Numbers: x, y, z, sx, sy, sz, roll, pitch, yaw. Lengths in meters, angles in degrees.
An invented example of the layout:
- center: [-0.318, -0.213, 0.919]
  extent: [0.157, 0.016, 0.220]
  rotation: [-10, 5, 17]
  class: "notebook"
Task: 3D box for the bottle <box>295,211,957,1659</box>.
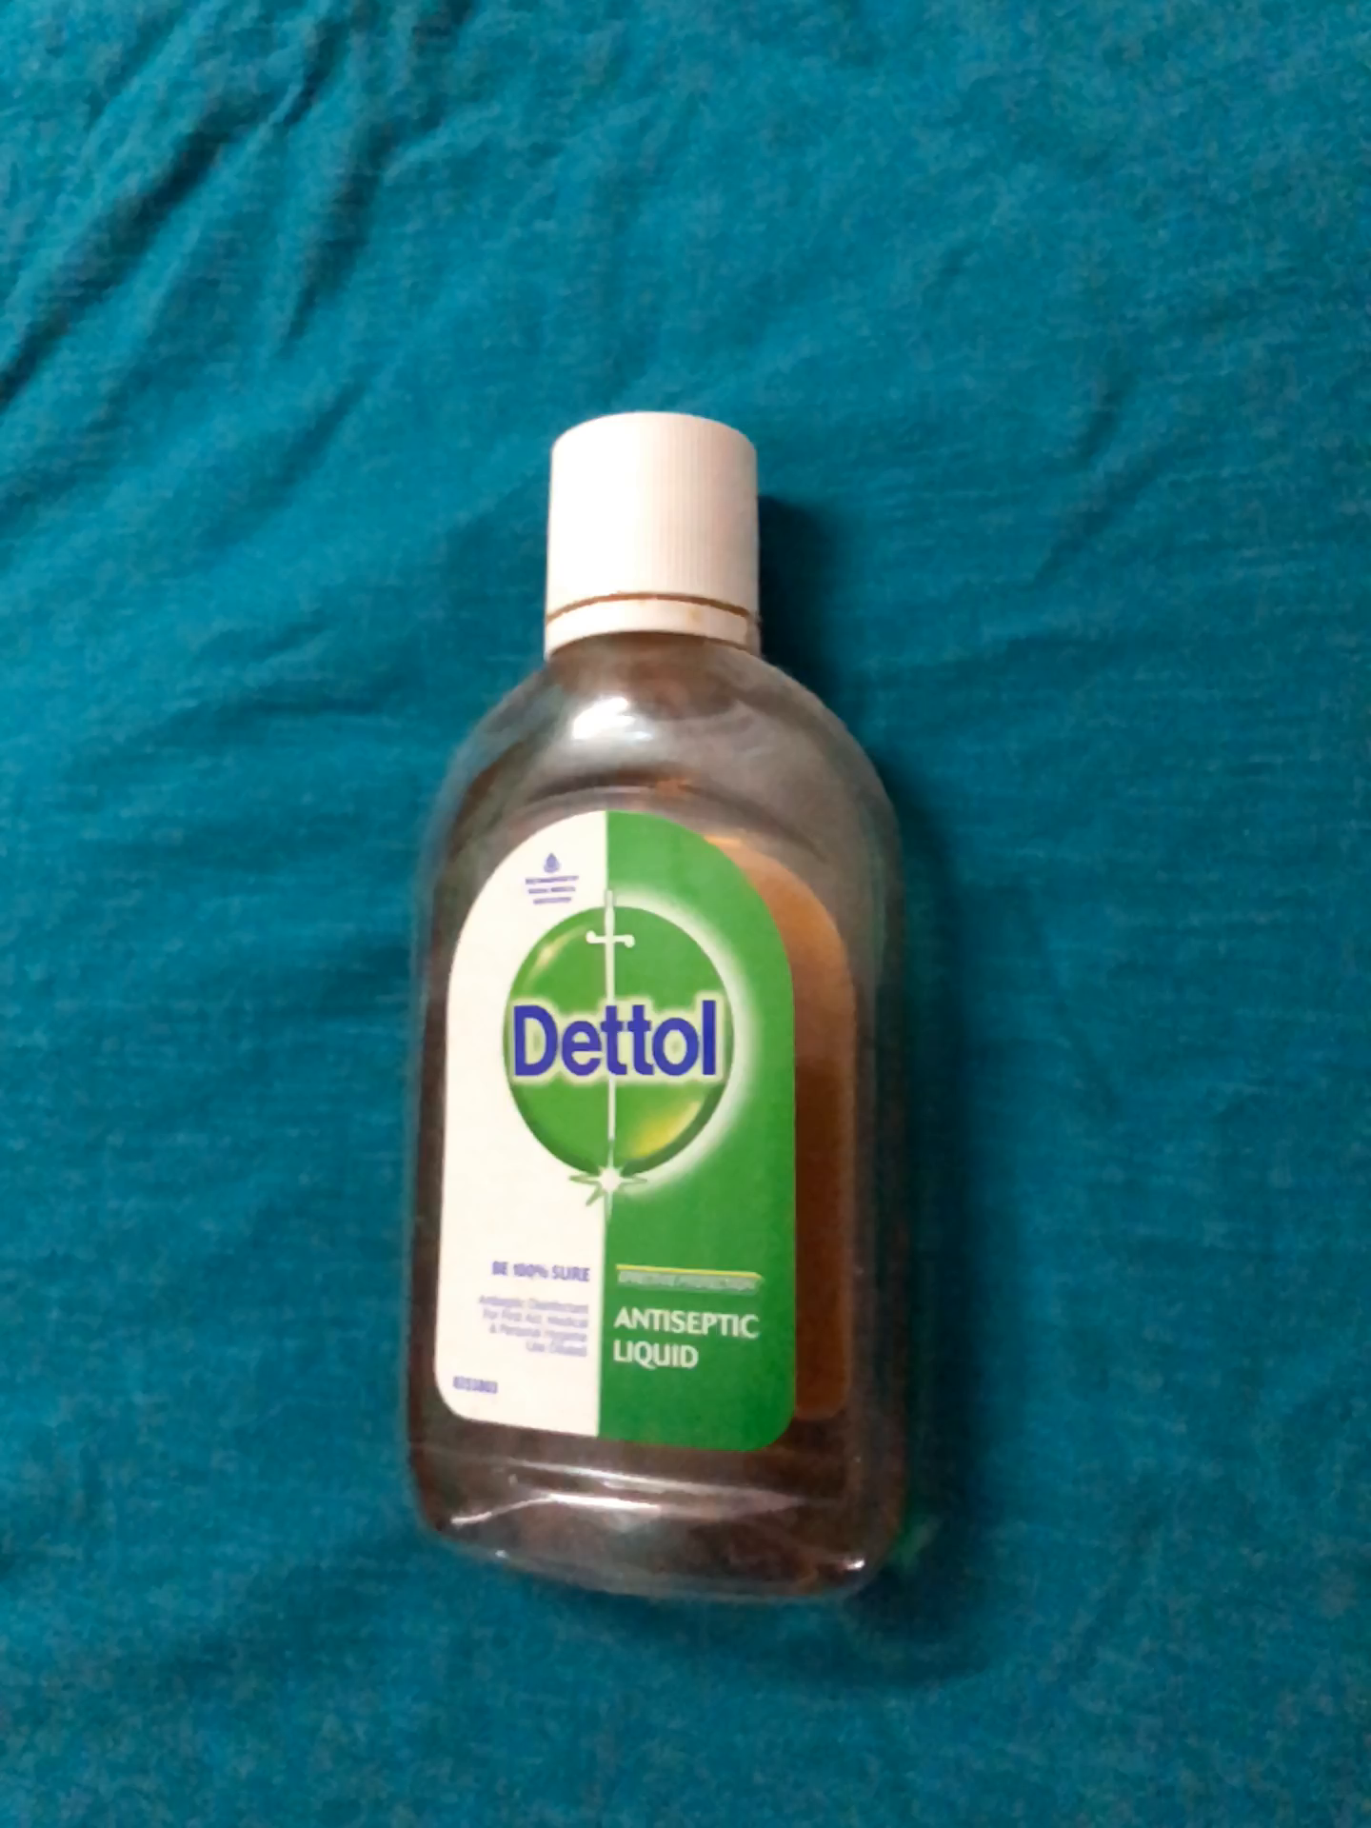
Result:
- center: [-0.005, 0.000, 0.222]
  extent: [0.080, 0.040, 0.180]
  rotation: [-2, 81, 20]
  class: "bottle"
